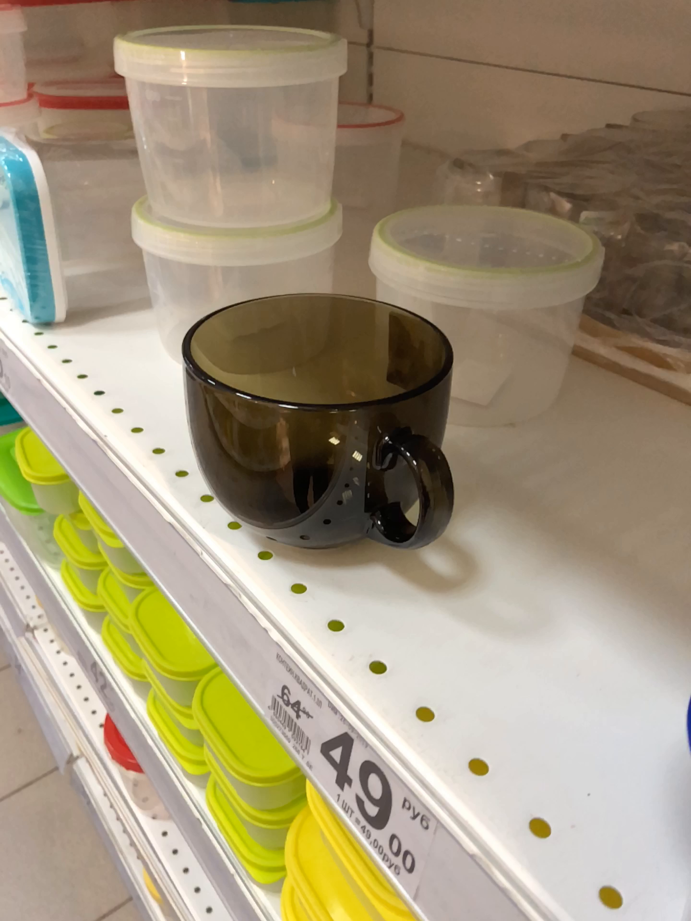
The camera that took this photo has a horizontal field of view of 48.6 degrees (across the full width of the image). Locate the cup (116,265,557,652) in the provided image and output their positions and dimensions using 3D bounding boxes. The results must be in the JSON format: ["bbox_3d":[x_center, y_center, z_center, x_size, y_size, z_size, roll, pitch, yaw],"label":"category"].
[{"bbox_3d":[-0.008,-0.014,0.308,0.105,0.071,0.136,-25,41,-31],"label":"cup"}]
